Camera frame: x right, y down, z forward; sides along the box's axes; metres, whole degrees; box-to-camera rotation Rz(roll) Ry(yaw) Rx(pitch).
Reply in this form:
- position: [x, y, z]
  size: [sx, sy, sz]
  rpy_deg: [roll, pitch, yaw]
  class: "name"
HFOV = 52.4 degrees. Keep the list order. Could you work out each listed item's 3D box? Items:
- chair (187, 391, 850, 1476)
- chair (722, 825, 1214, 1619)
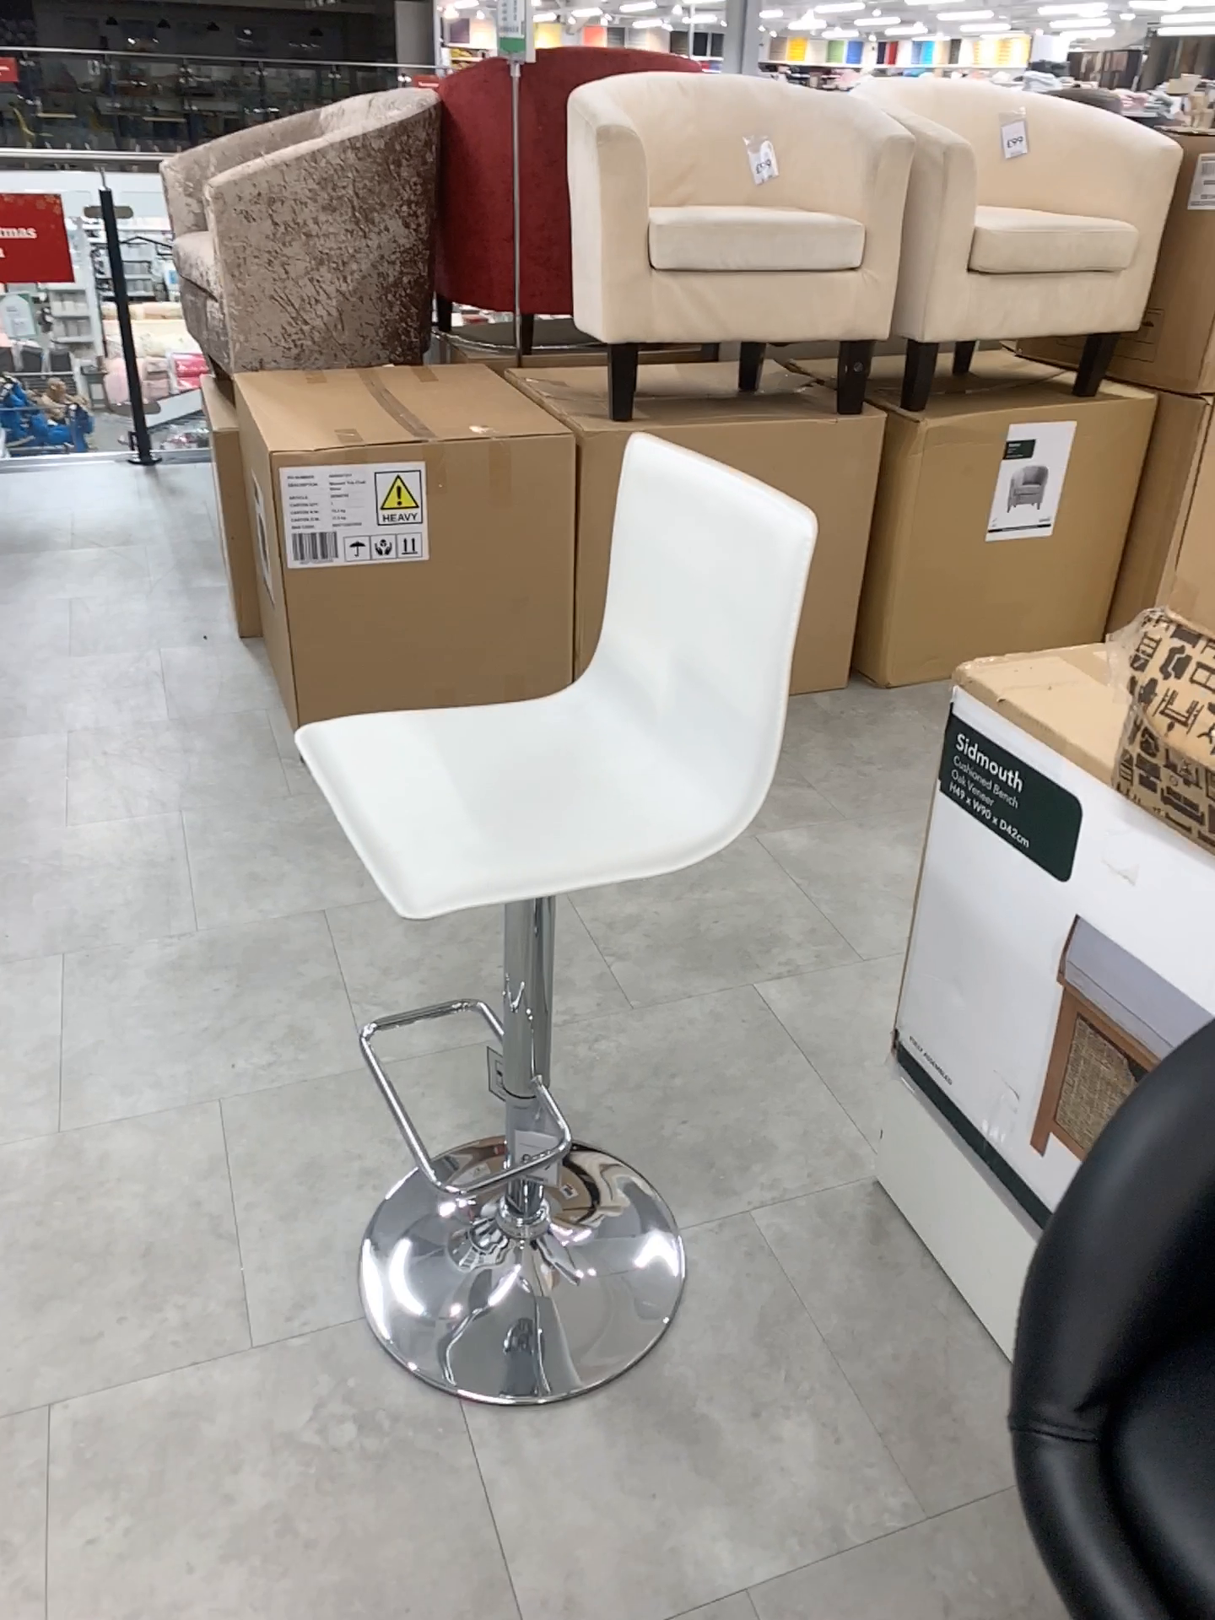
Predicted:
- position: [-0.120, 0.122, 1.325]
  size: [0.442, 0.990, 0.463]
  rpy_deg: [-11, 32, -23]
  class: "chair"
- position: [0.402, 0.553, 0.672]
  size: [0.442, 0.910, 0.473]
  rpy_deg: [-10, 31, -20]
  class: "chair"
